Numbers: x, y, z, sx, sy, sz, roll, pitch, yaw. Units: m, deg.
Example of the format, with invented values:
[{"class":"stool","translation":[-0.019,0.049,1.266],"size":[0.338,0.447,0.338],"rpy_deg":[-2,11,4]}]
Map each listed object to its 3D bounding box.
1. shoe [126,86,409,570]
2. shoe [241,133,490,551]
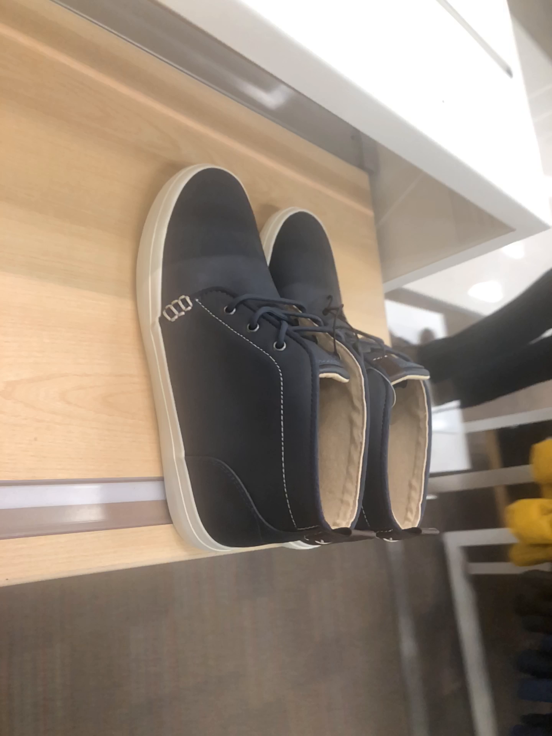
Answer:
[{"class":"shoe","translation":[-0.011,-0.014,0.392],"size":[0.110,0.114,0.258],"rpy_deg":[6,74,-45]},{"class":"shoe","translation":[0.058,-0.007,0.455],"size":[0.107,0.124,0.267],"rpy_deg":[12,70,-43]}]
